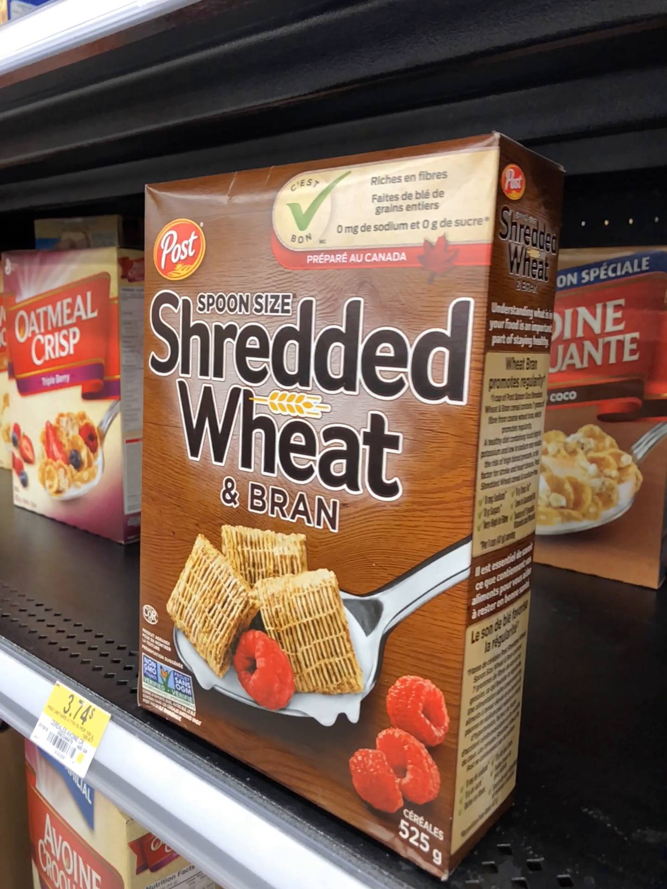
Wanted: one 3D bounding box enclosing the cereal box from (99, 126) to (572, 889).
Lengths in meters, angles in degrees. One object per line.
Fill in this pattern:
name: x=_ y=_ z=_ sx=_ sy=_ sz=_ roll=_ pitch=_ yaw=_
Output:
cereal box: x=-0.018 y=0.014 z=0.333 sx=0.210 sy=0.259 sz=0.060 roll=9 pitch=10 yaw=38
